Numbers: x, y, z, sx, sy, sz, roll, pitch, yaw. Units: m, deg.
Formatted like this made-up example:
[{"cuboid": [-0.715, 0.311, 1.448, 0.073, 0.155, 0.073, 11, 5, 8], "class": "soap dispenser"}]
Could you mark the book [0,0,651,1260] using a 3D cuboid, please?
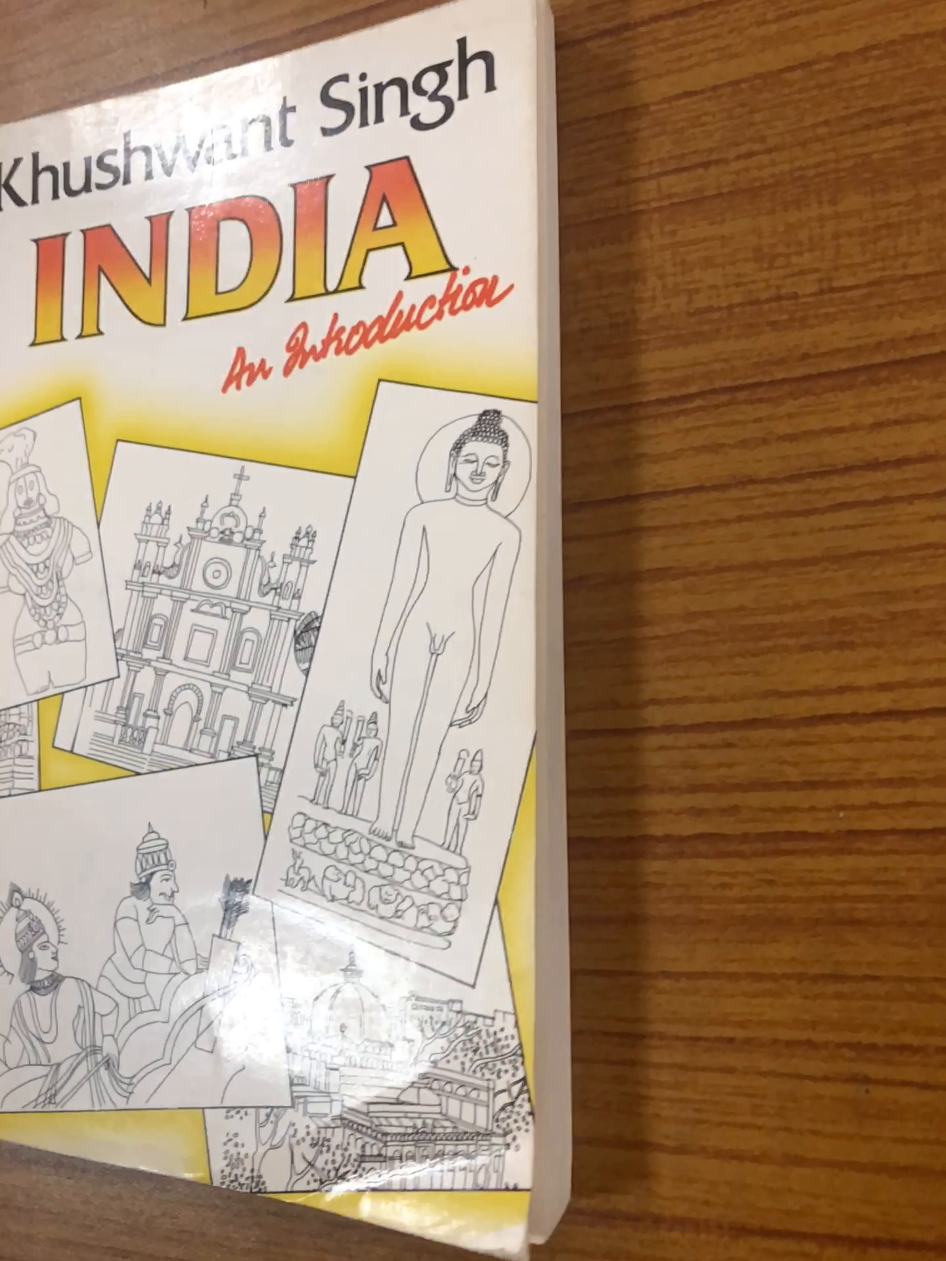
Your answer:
[{"cuboid": [-0.041, -0.005, 0.184, 0.140, 0.020, 0.190, -1, 85, 22], "class": "book"}]
